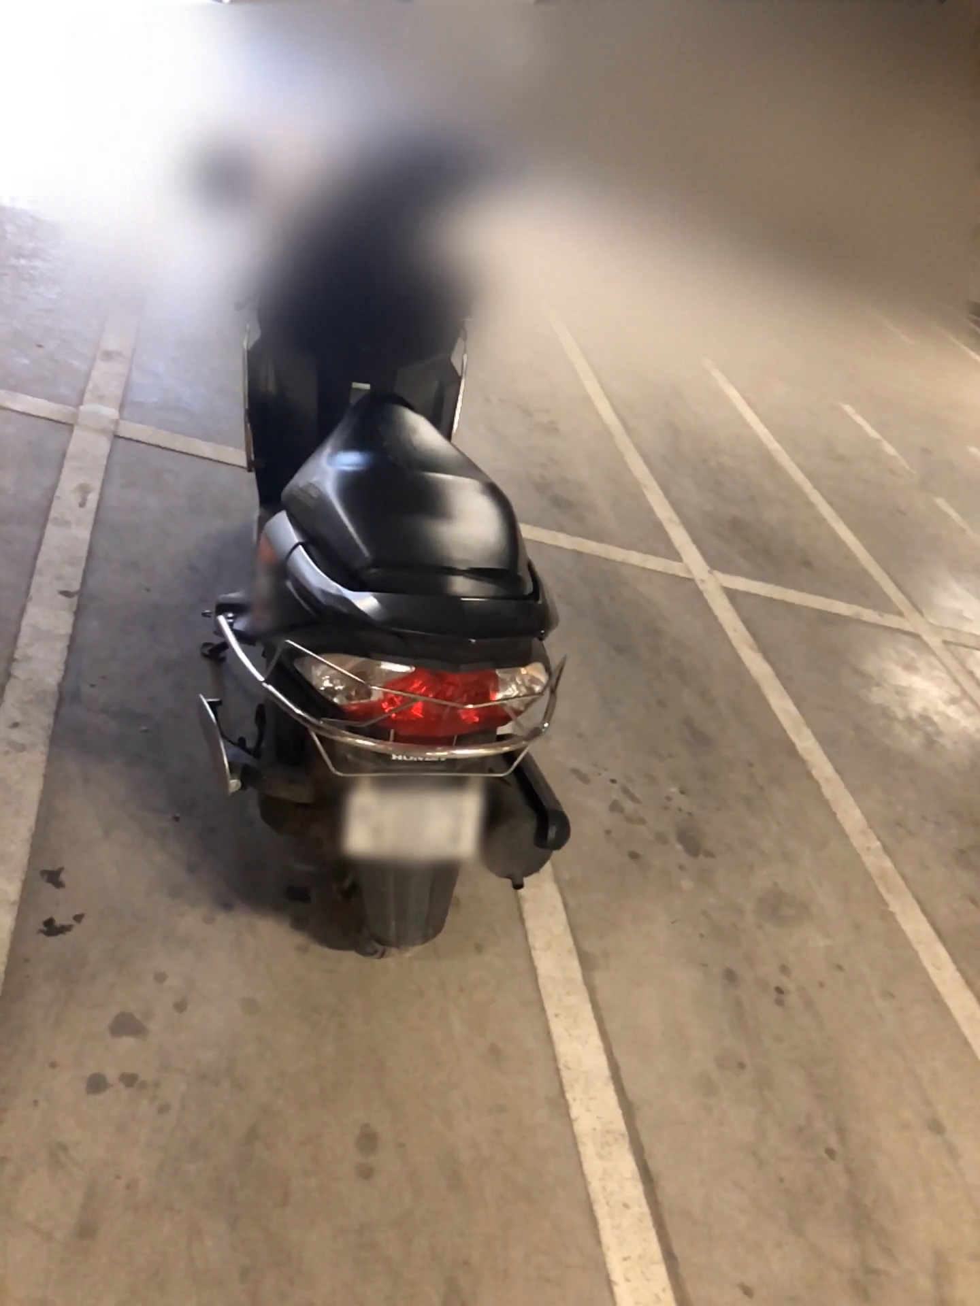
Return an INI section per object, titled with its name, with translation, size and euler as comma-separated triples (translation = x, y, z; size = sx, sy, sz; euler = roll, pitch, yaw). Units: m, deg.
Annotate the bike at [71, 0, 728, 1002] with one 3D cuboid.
[bike]
translation = -0.373, -0.559, 2.176
size = 0.583, 1.187, 1.958
euler = 9, 40, -24
